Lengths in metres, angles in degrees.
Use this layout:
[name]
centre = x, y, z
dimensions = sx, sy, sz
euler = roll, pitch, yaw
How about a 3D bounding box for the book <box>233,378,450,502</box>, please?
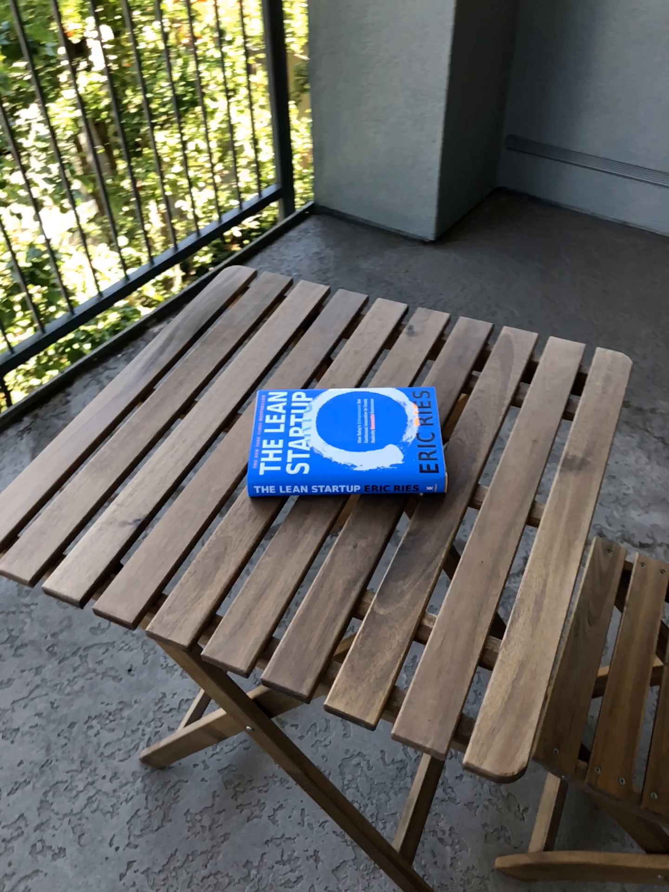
[book]
centre = 0.009, -0.010, 0.853
dimensions = 0.230, 0.040, 0.161
euler = 0, 45, 1
